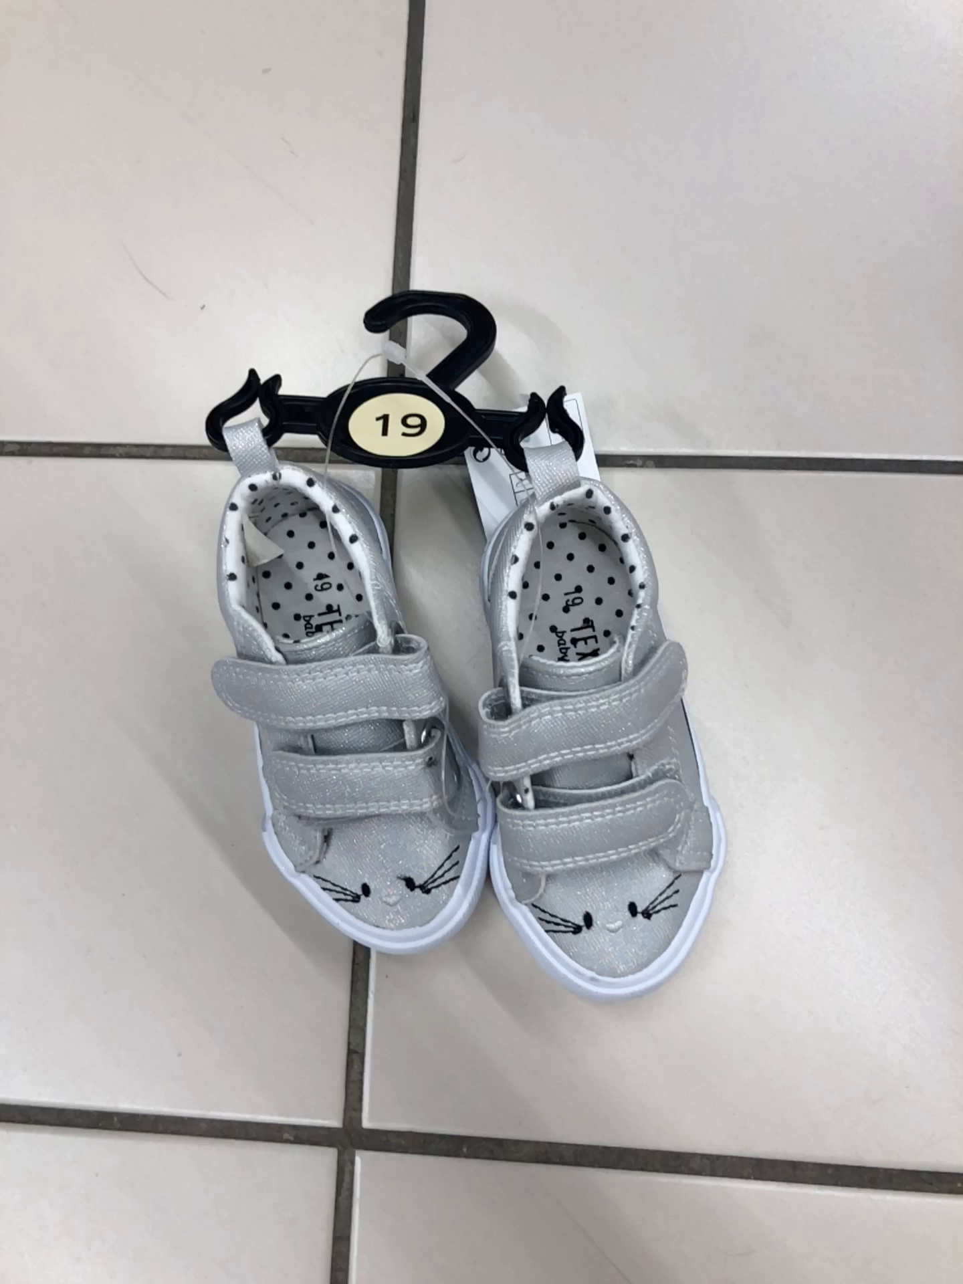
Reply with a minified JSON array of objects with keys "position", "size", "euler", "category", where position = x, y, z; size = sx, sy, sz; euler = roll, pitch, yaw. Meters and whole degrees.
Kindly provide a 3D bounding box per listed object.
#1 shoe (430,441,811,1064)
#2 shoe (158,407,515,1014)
[{"position":[0.033,0.027,0.279],"size":[0.064,0.054,0.138],"euler":[-11,82,4],"category":"shoe"},{"position":[-0.036,0.018,0.285],"size":[0.059,0.054,0.138],"euler":[-13,82,3],"category":"shoe"}]
